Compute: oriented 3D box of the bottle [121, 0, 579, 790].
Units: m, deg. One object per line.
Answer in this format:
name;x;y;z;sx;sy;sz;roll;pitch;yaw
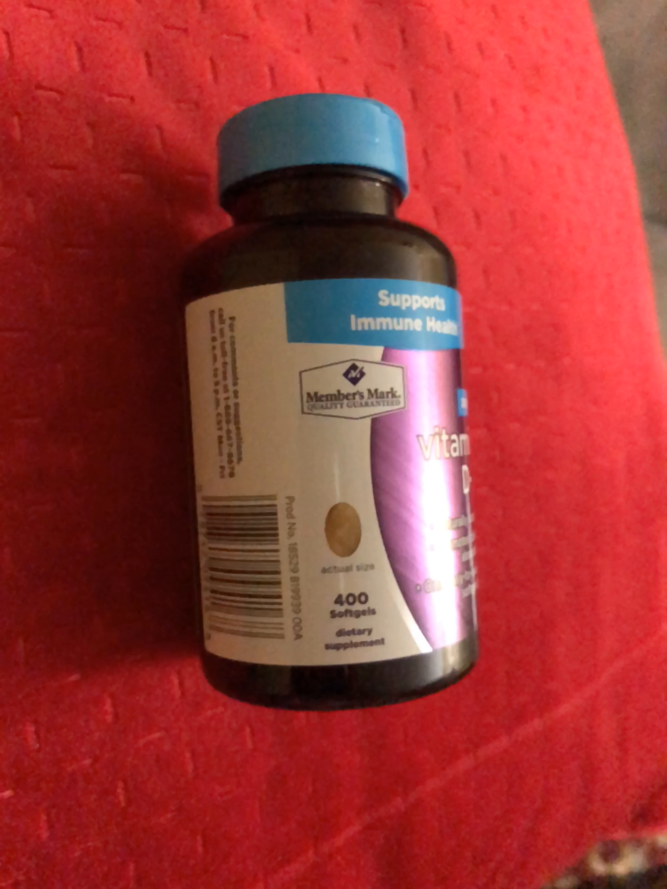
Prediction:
bottle;0.002;-0.017;0.164;0.070;0.060;0.140;-4;92;-31
